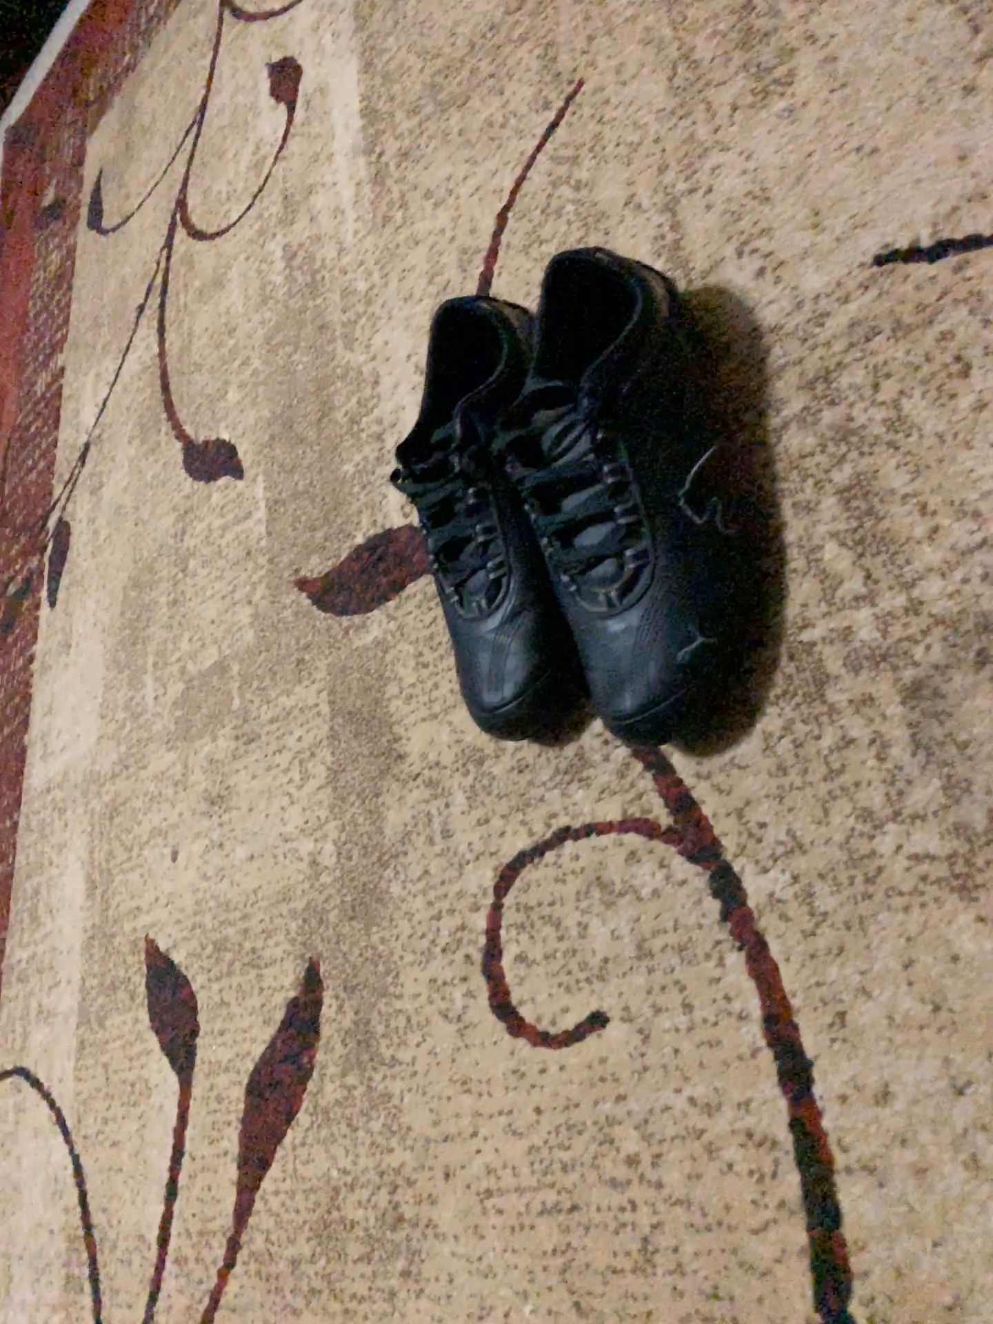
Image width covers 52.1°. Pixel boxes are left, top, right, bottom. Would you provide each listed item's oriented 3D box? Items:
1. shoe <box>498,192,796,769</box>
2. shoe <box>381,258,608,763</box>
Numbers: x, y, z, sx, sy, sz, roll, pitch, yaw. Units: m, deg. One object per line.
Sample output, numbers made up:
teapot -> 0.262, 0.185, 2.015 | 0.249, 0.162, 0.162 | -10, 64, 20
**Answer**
shoe -> 0.063, -0.083, 0.477 | 0.088, 0.073, 0.244 | -23, 61, 40
shoe -> 0.000, -0.078, 0.544 | 0.086, 0.073, 0.244 | -17, 64, 42
